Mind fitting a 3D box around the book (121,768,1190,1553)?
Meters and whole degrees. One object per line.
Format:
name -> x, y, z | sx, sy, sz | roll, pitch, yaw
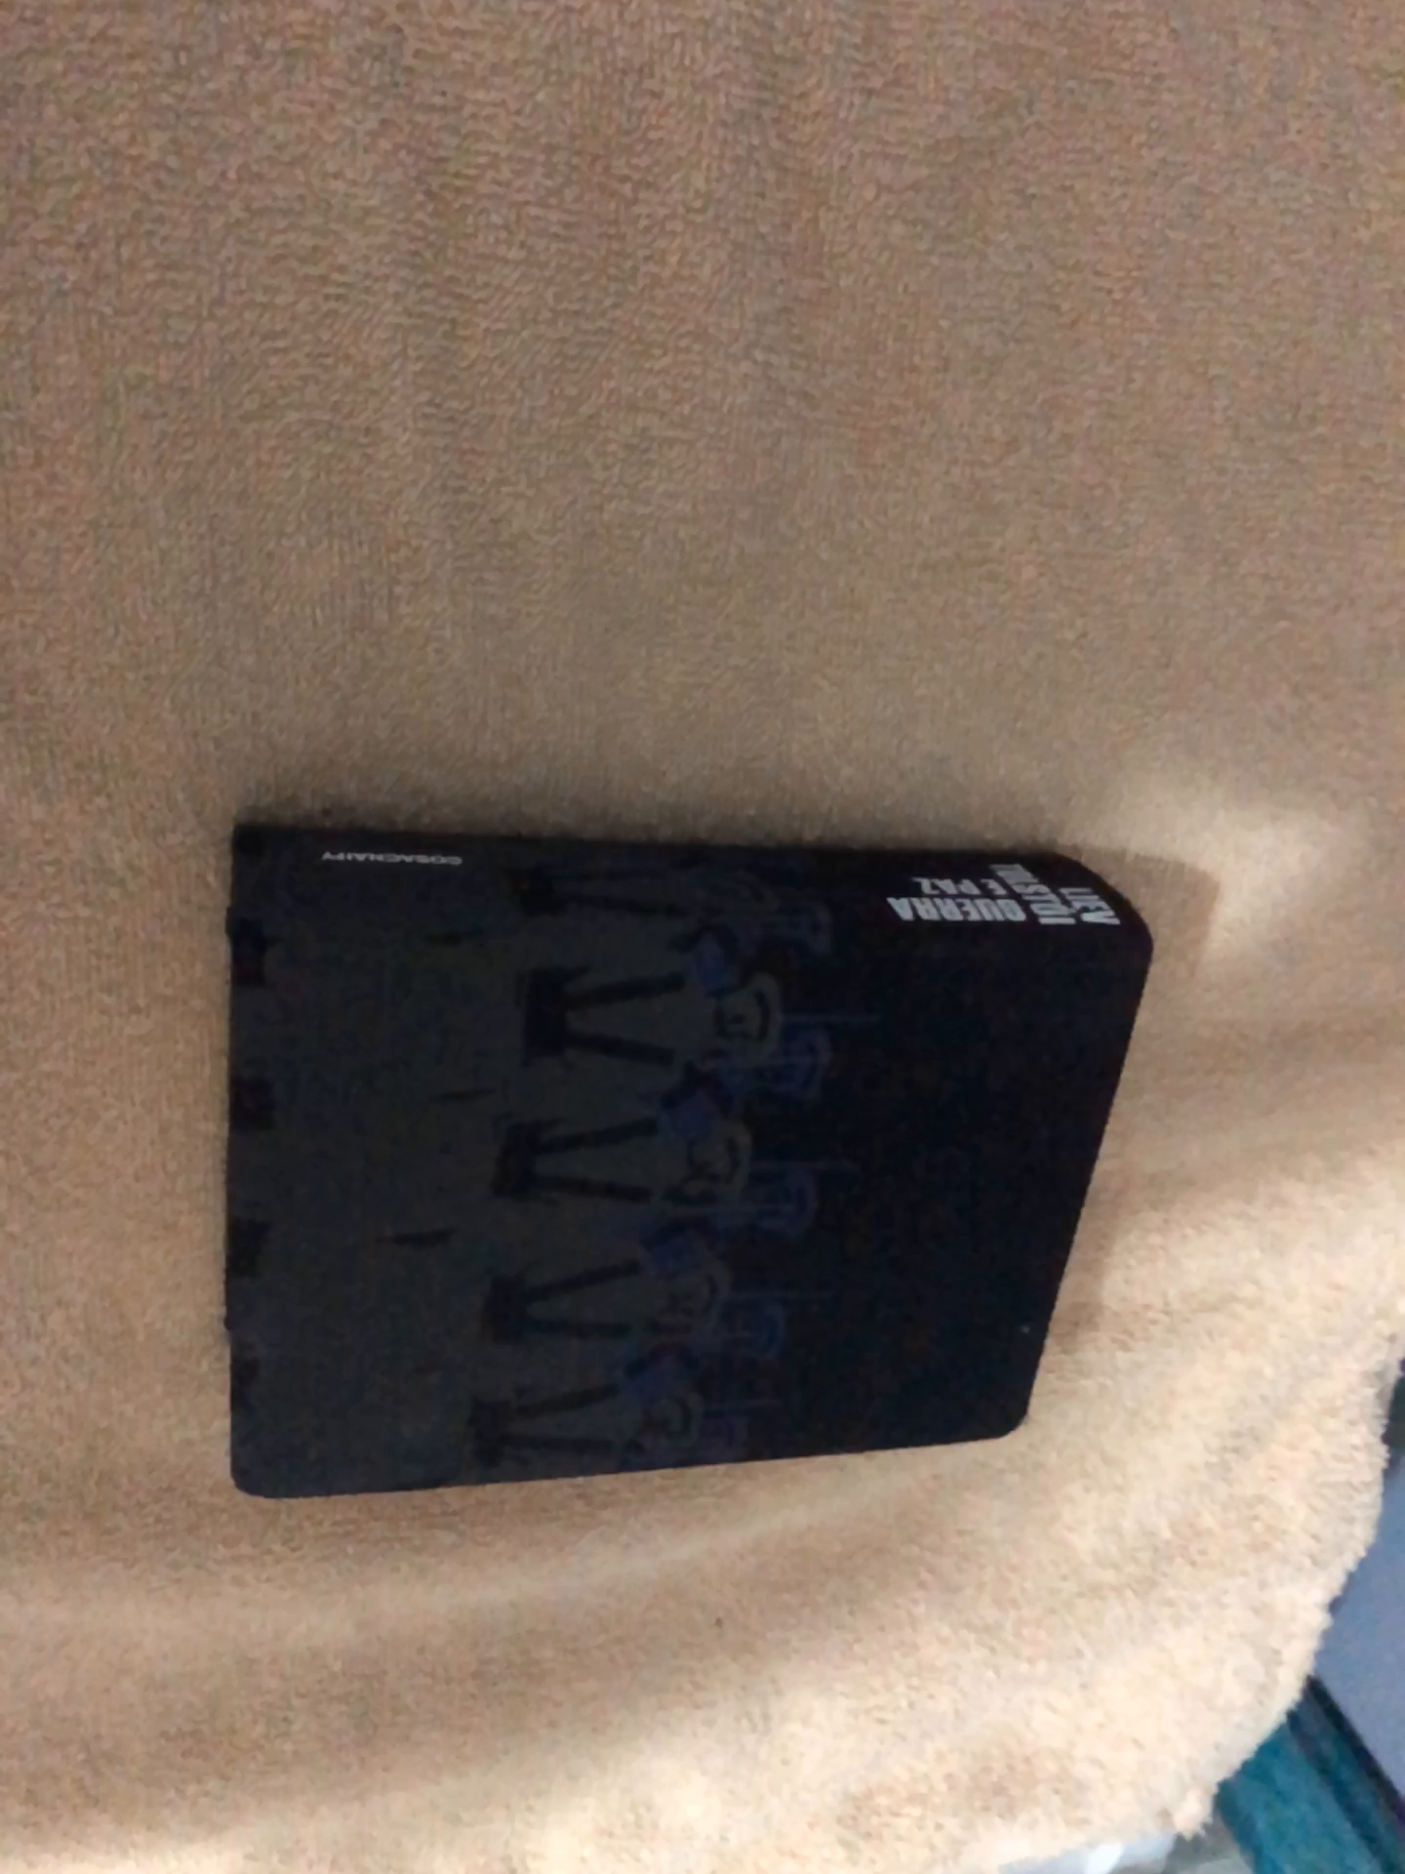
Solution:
book -> -0.014, 0.044, 0.319 | 0.190, 0.050, 0.140 | 1, 115, -17
